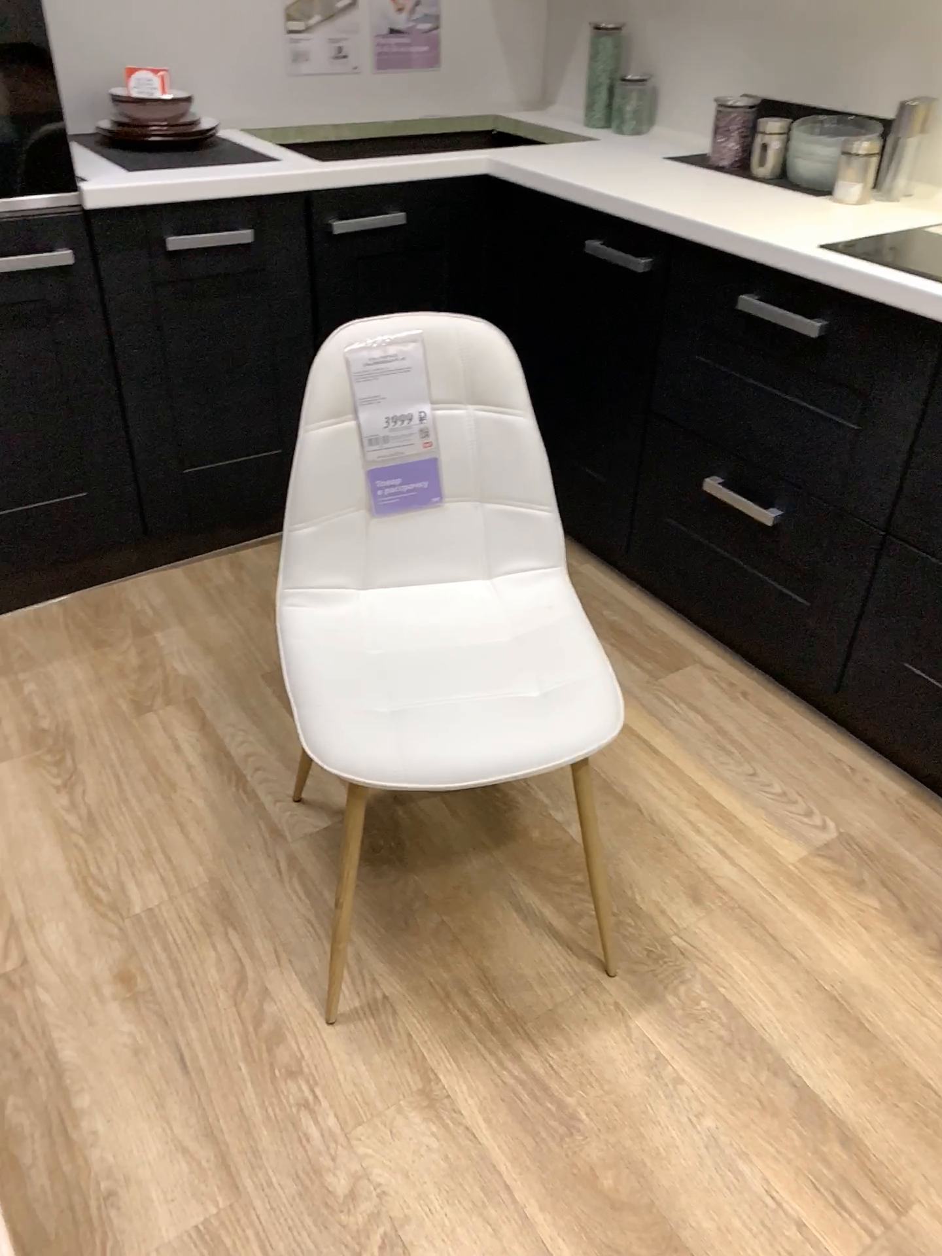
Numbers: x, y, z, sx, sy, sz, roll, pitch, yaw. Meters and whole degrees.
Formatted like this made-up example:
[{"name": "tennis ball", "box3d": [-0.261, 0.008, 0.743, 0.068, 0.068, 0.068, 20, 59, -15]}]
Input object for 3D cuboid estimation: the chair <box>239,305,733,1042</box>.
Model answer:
[{"name": "chair", "box3d": [-0.042, 0.052, 1.375, 0.470, 0.825, 0.573, -6, 36, -11]}]
